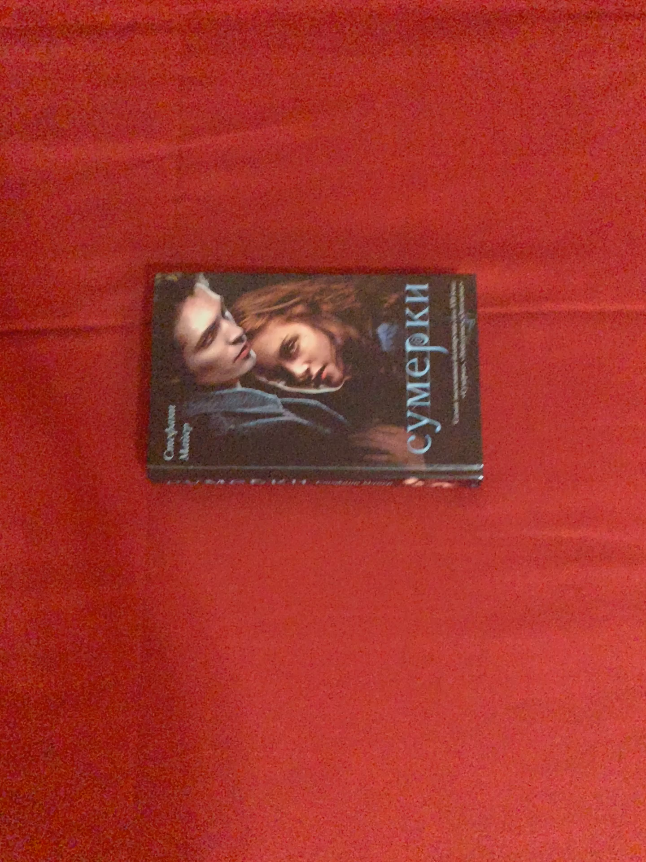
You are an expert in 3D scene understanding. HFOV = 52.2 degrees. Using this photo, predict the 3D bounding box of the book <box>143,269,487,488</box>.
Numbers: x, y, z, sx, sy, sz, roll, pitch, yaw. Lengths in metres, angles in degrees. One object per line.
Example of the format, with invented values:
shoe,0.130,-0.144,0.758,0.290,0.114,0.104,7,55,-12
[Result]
book,-0.004,-0.032,0.425,0.209,0.036,0.134,1,84,0
